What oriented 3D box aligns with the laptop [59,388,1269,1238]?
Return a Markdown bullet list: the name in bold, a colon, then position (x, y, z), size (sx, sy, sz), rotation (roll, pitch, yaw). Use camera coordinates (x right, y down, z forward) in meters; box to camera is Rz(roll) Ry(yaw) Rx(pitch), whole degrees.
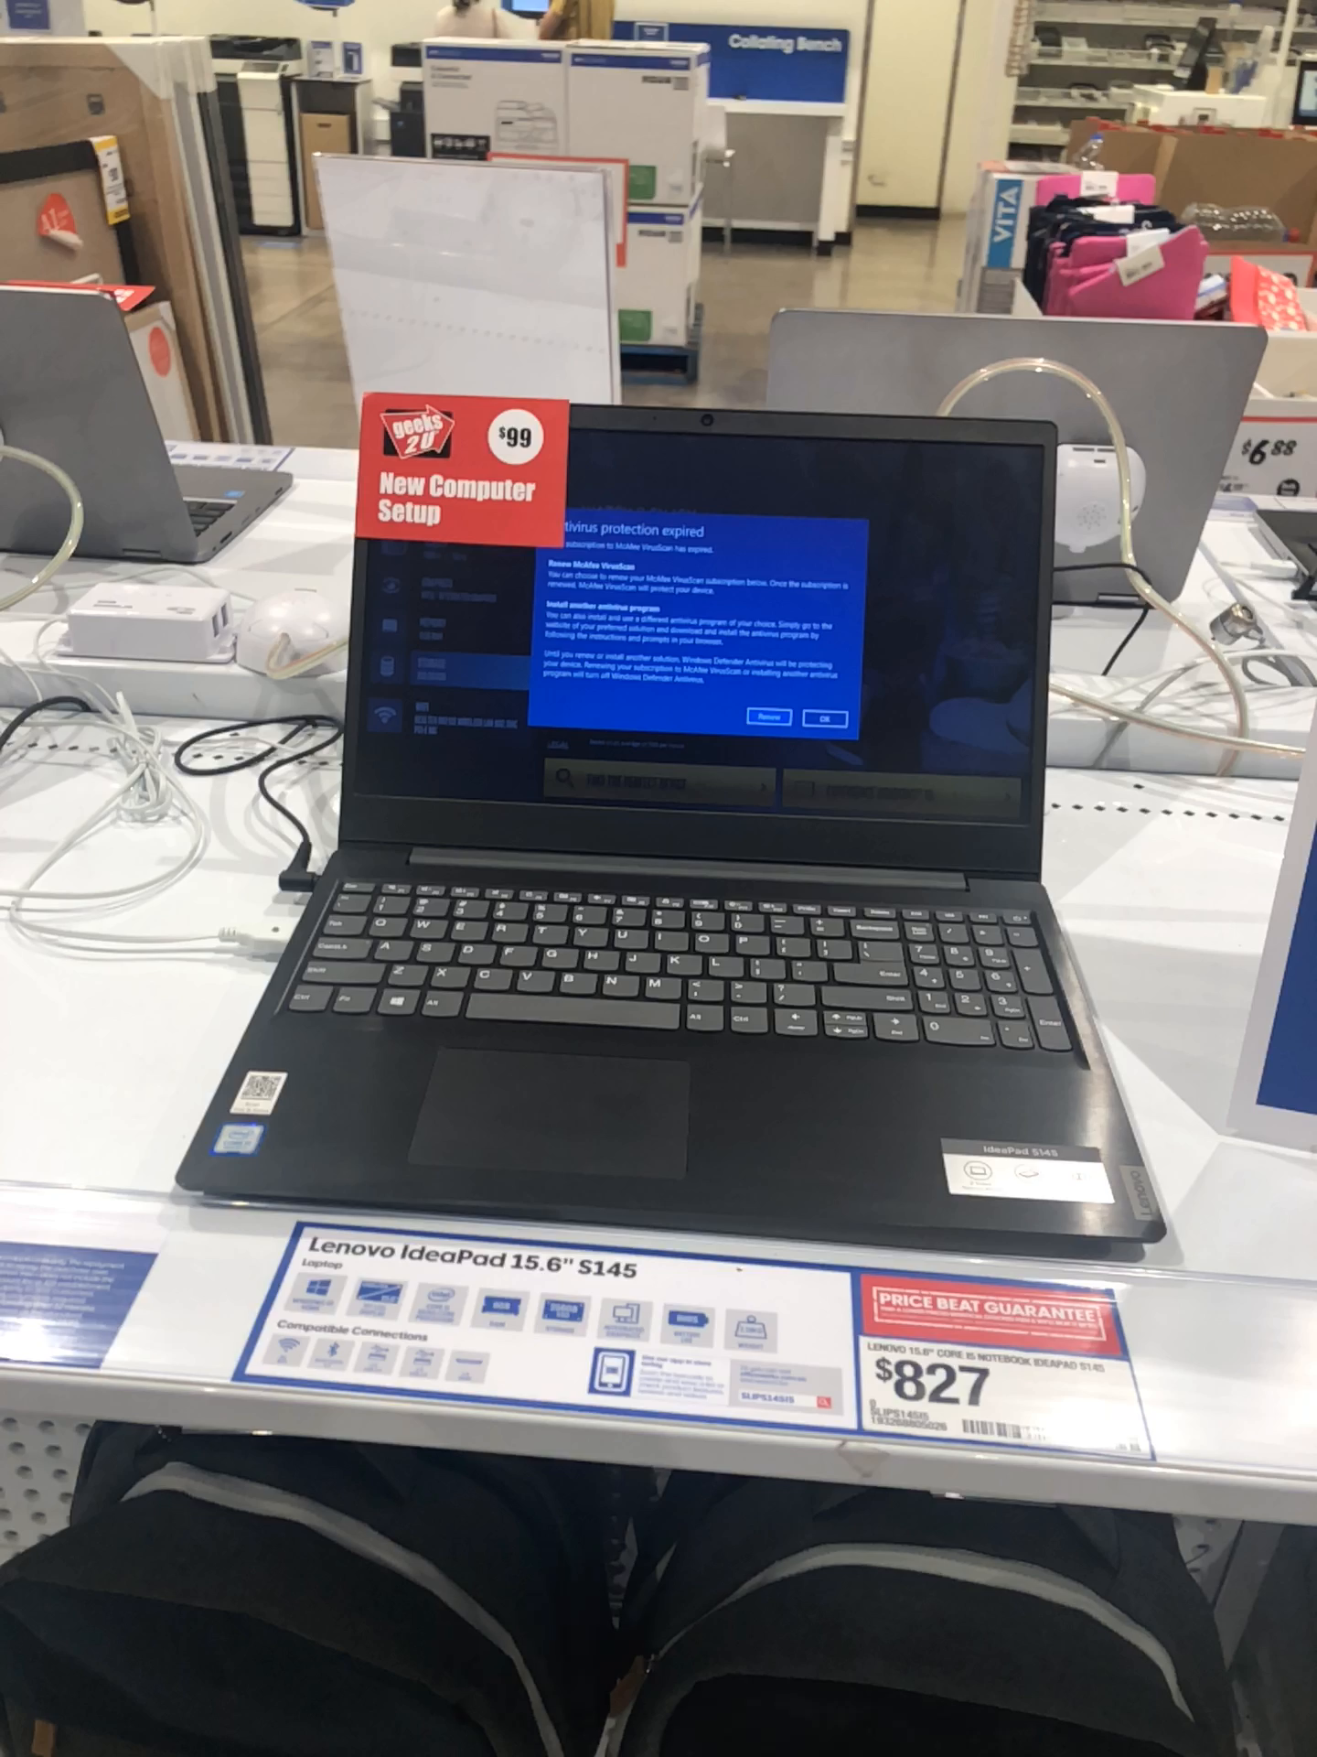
- **laptop**: position (0.005, -0.062, 0.628), size (0.353, 0.192, 0.370), rotation (3, 32, 2)
